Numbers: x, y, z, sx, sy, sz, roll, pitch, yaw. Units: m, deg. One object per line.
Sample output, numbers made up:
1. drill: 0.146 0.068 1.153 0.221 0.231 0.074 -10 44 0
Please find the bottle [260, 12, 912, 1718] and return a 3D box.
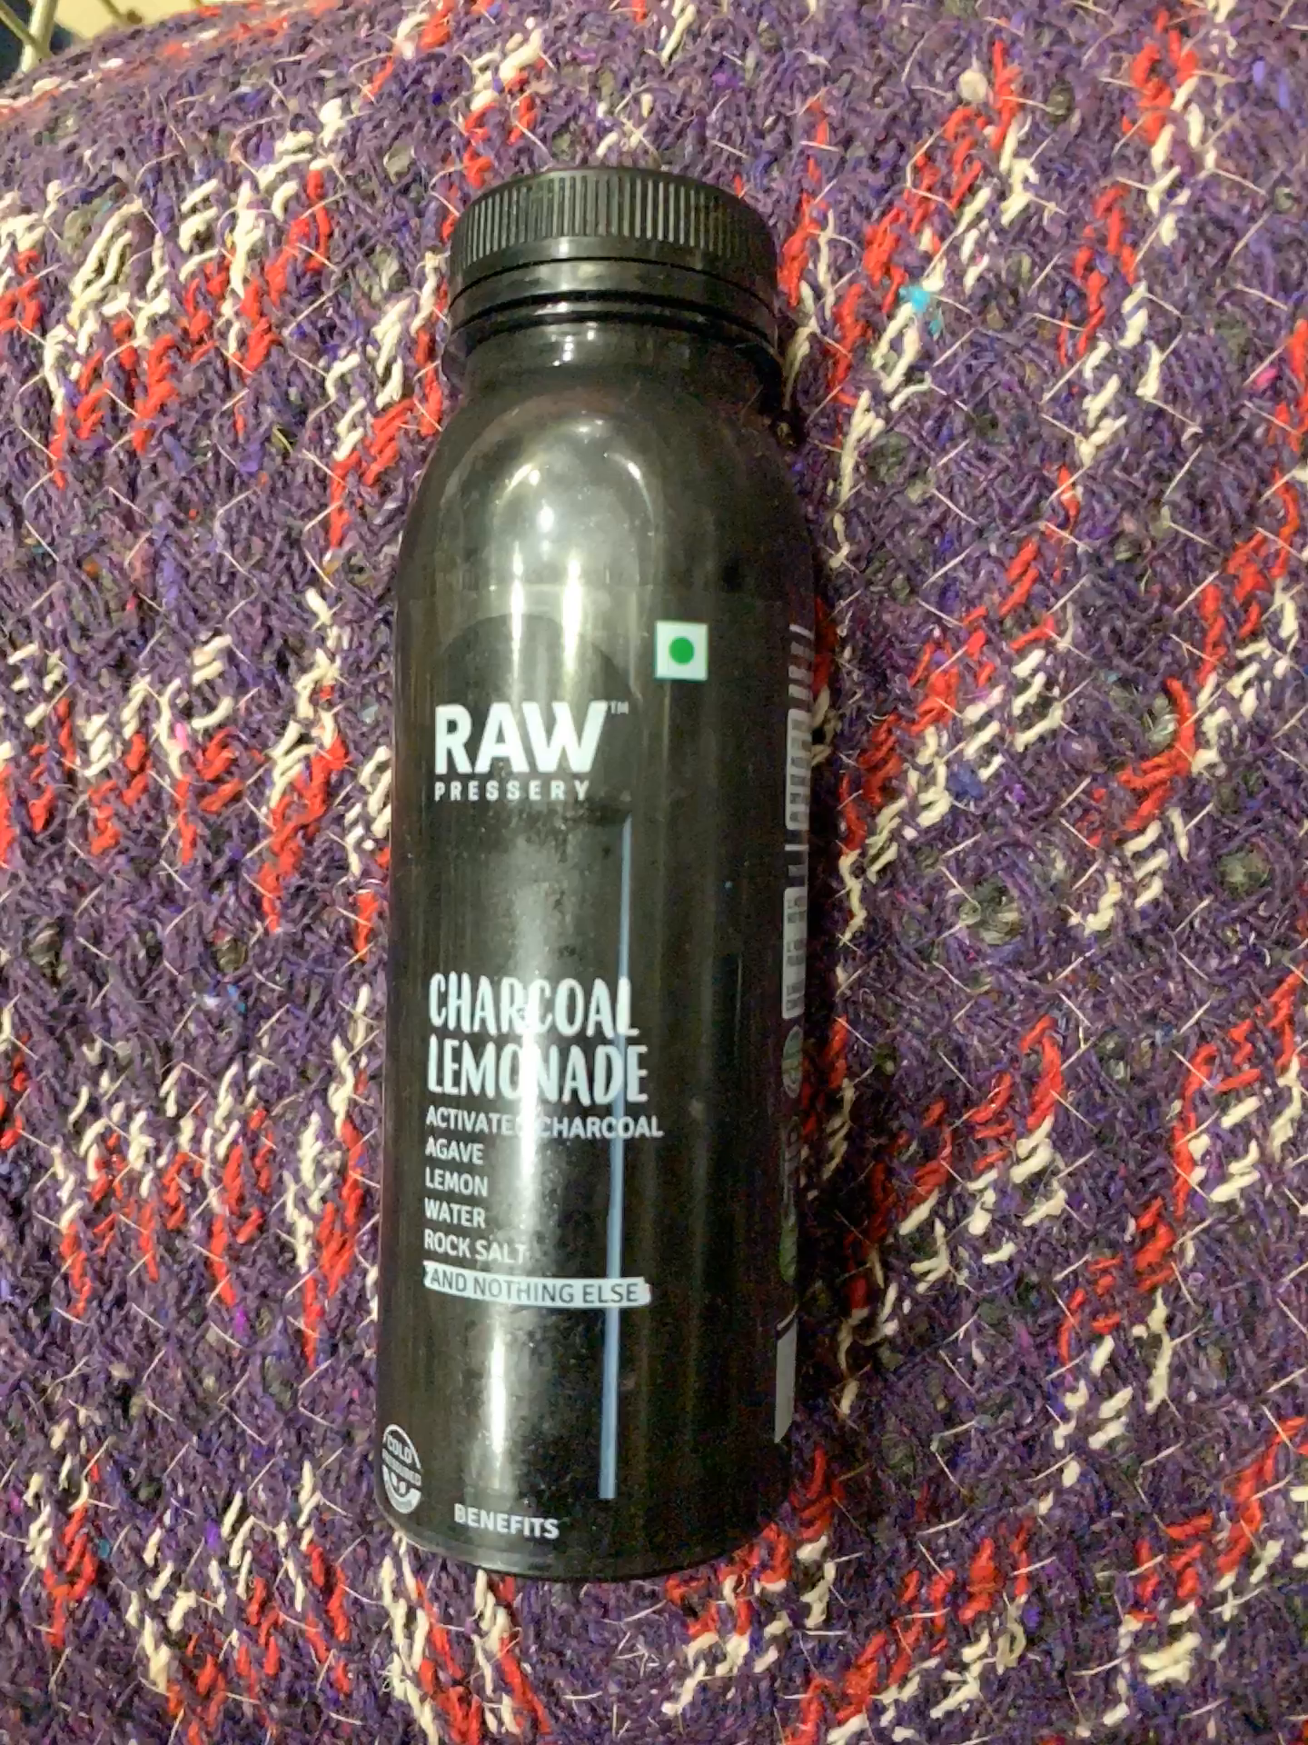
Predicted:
1. bottle: -0.005 0.000 0.158 0.060 0.050 0.160 3 95 13
